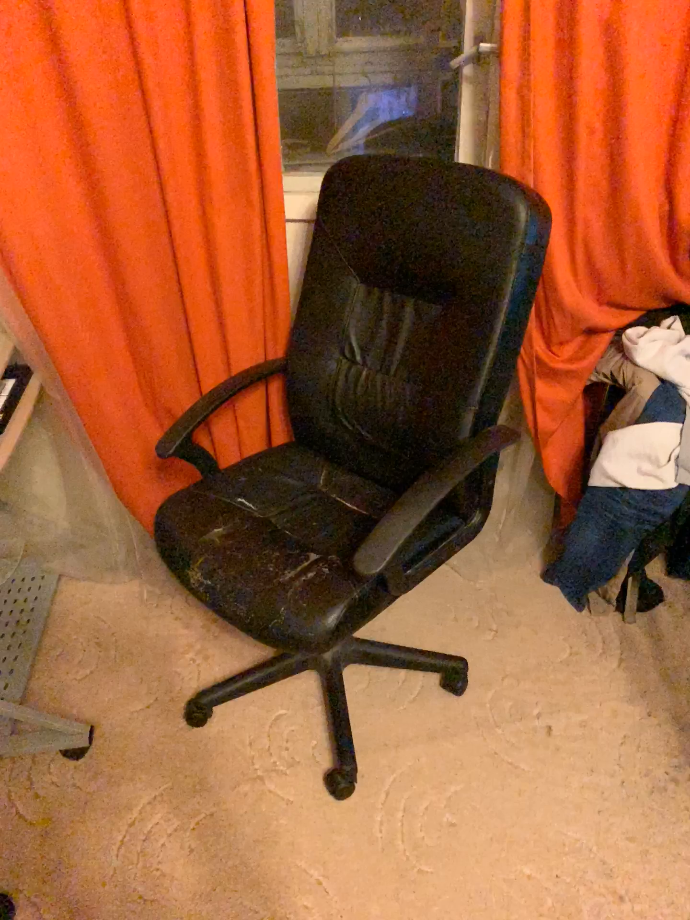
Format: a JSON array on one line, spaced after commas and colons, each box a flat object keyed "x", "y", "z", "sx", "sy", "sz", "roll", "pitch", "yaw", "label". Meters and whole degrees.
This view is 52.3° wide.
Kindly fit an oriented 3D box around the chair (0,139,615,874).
[{"x": -0.043, "y": 0.029, "z": 1.458, "sx": 0.712, "sy": 1.124, "sz": 0.743, "roll": 25, "pitch": 42, "yaw": 36, "label": "chair"}]
